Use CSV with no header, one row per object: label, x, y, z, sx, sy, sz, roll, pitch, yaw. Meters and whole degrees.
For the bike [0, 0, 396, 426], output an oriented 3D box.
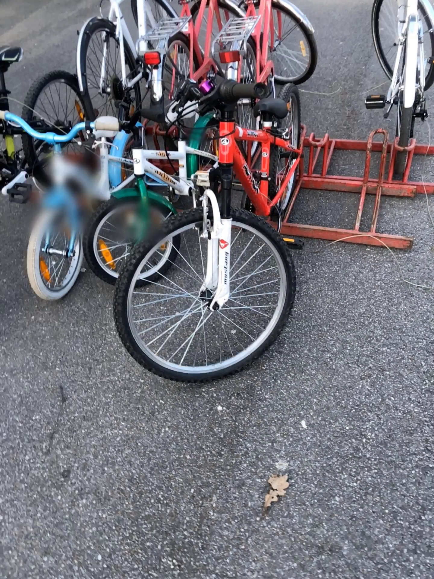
bike,0.109,-0.437,1.727,0.552,0.908,1.450,18,48,20
